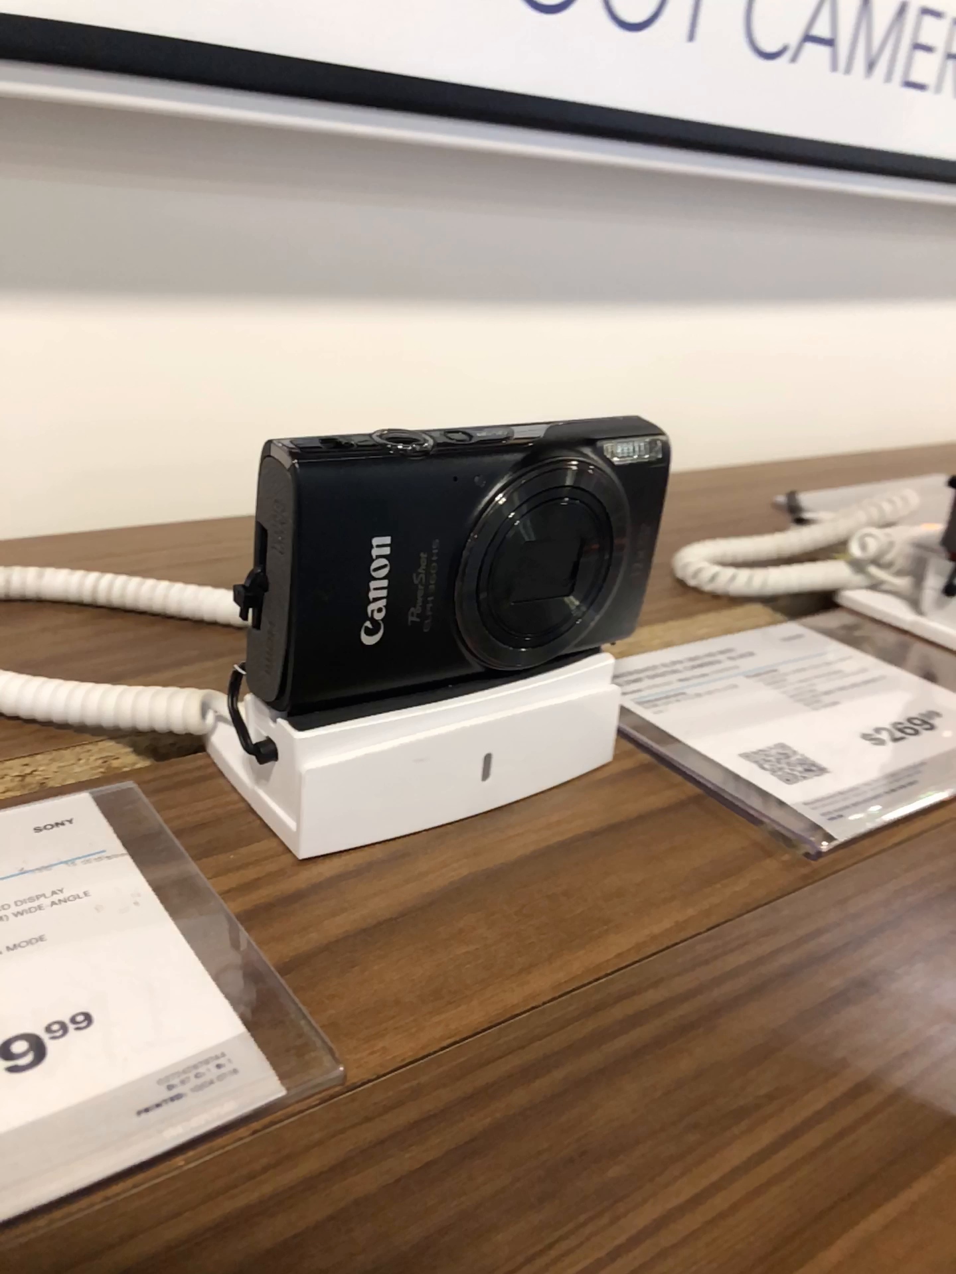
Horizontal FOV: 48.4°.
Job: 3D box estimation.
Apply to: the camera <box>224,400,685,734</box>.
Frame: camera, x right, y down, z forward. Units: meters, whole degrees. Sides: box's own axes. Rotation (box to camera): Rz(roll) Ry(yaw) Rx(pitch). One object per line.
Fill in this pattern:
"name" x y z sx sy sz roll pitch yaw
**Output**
"camera" -0.003 -0.020 0.239 0.100 0.056 0.030 -11 26 -35
